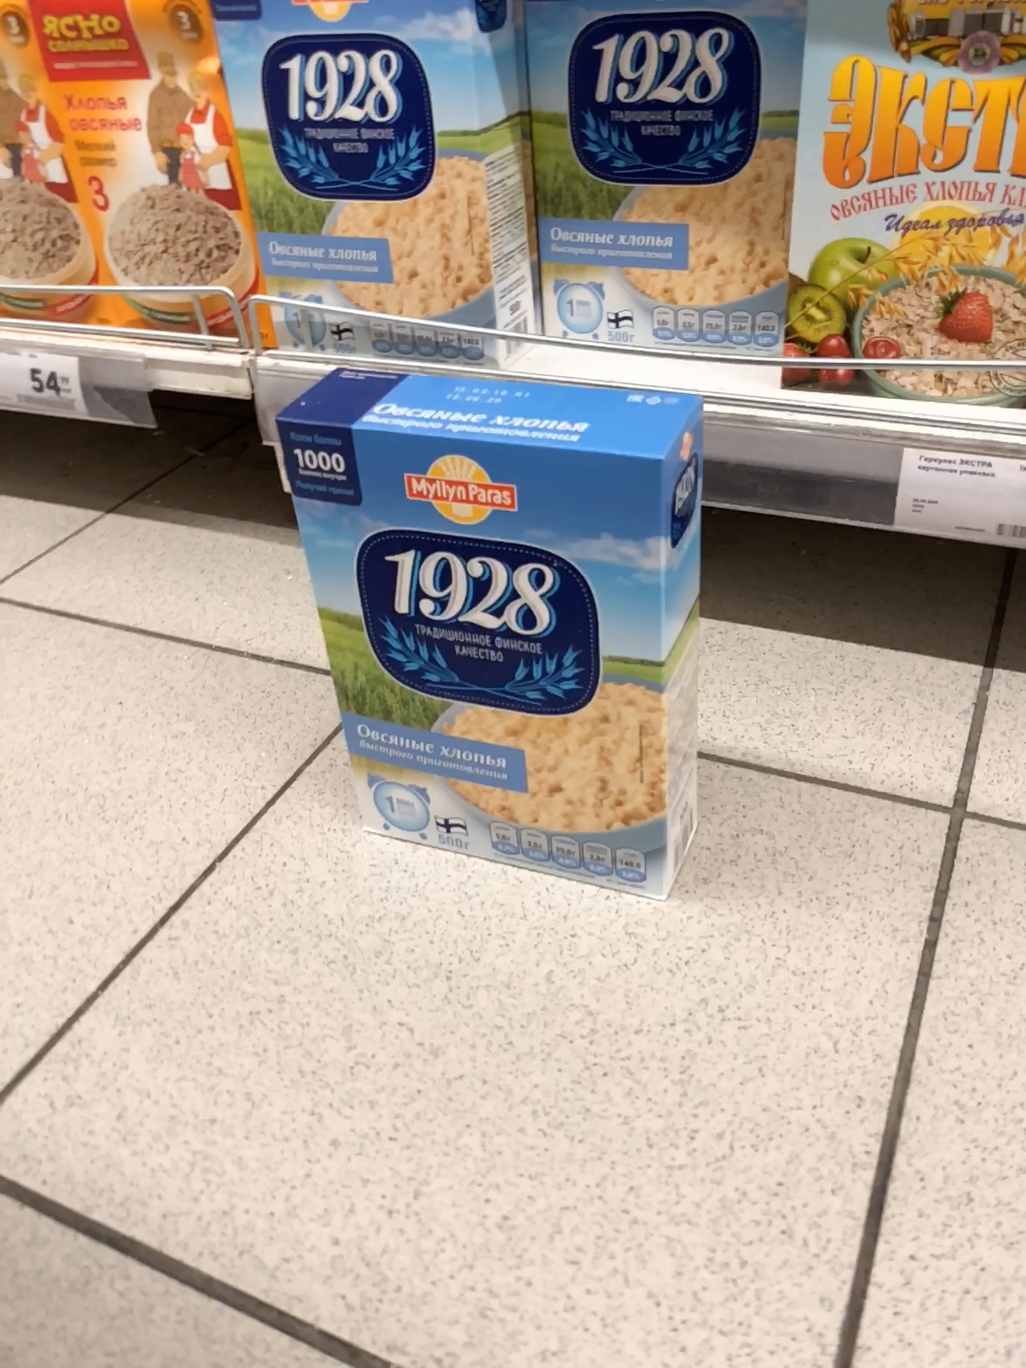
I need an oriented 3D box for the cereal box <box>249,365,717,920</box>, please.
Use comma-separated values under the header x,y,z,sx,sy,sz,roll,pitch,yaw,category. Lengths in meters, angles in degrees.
x,y,z,sx,sy,sz,roll,pitch,yaw,category
-0.003,-0.014,0.446,0.150,0.199,0.060,10,39,20,cereal box
